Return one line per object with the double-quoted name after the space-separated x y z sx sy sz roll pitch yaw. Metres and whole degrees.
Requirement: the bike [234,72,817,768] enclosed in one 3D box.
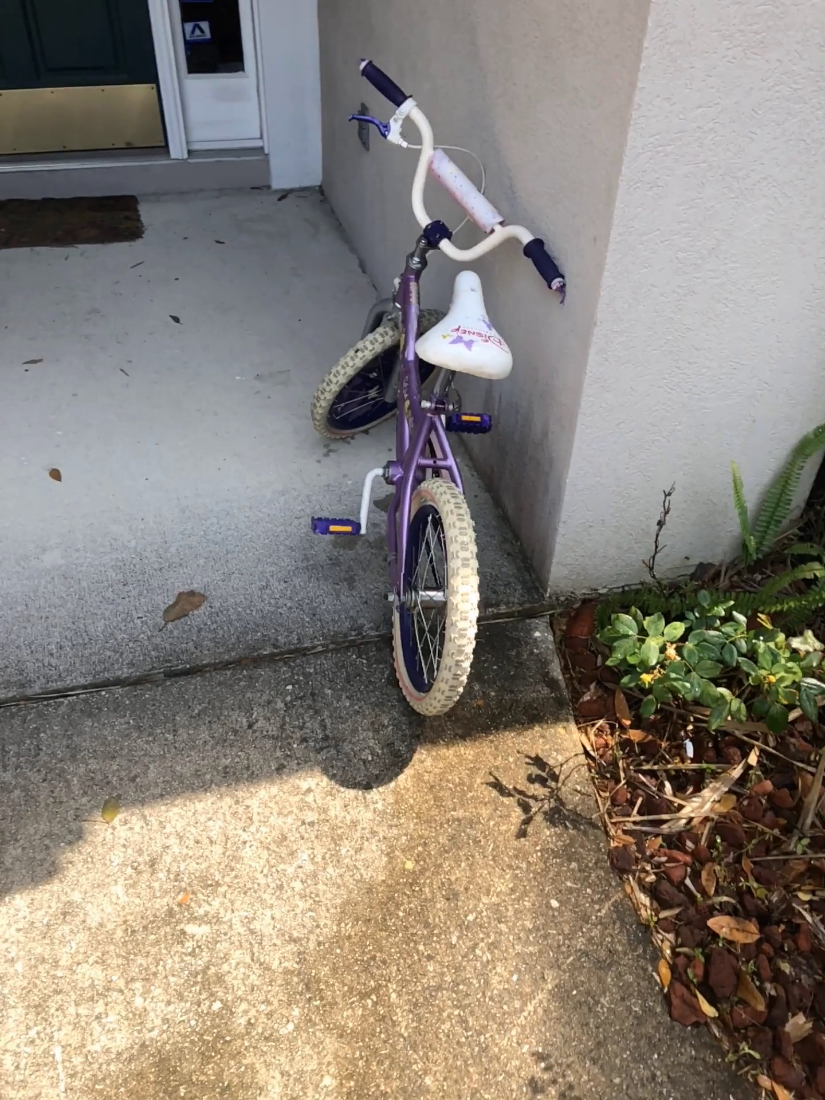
0.058 -0.254 1.518 0.615 0.816 0.851 -4 40 -7 "bike"
